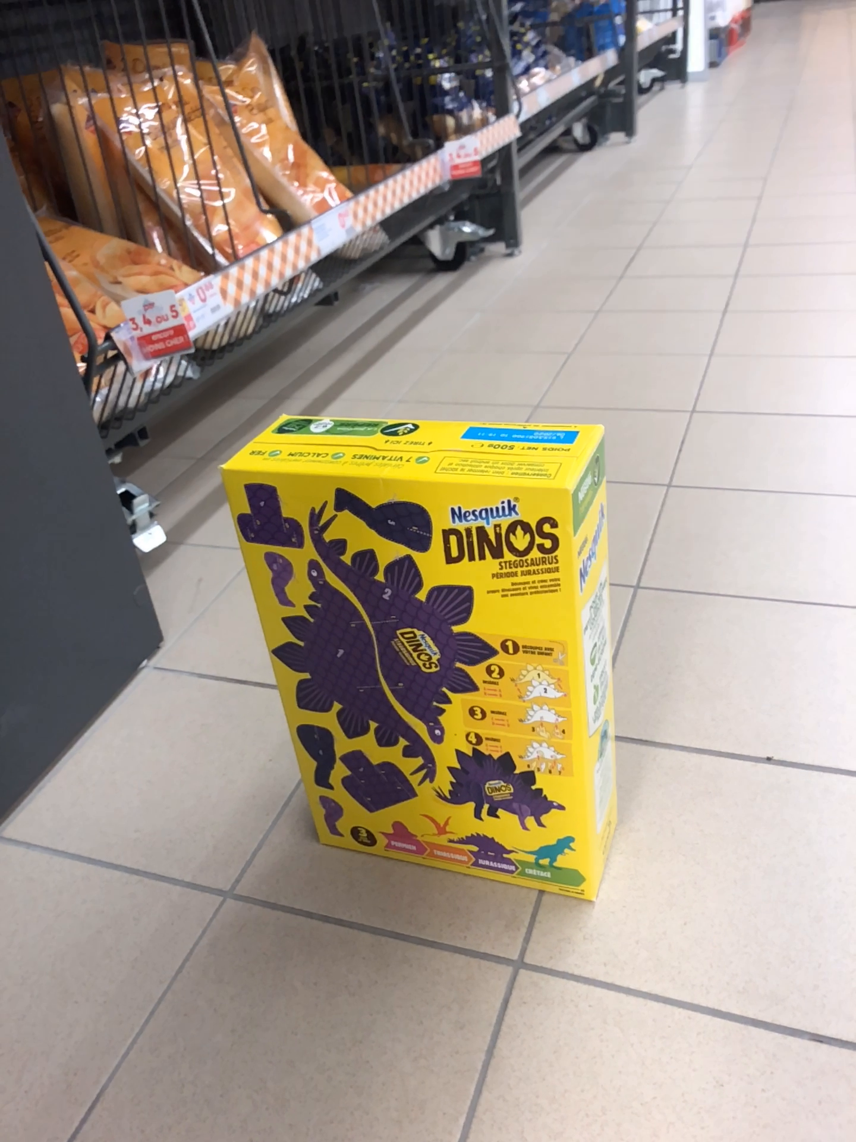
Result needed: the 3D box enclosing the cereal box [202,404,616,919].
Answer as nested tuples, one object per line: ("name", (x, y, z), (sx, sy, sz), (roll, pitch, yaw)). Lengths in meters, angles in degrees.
("cereal box", (0.004, 0.058, 0.559), (0.200, 0.298, 0.070), (6, 33, 20))
